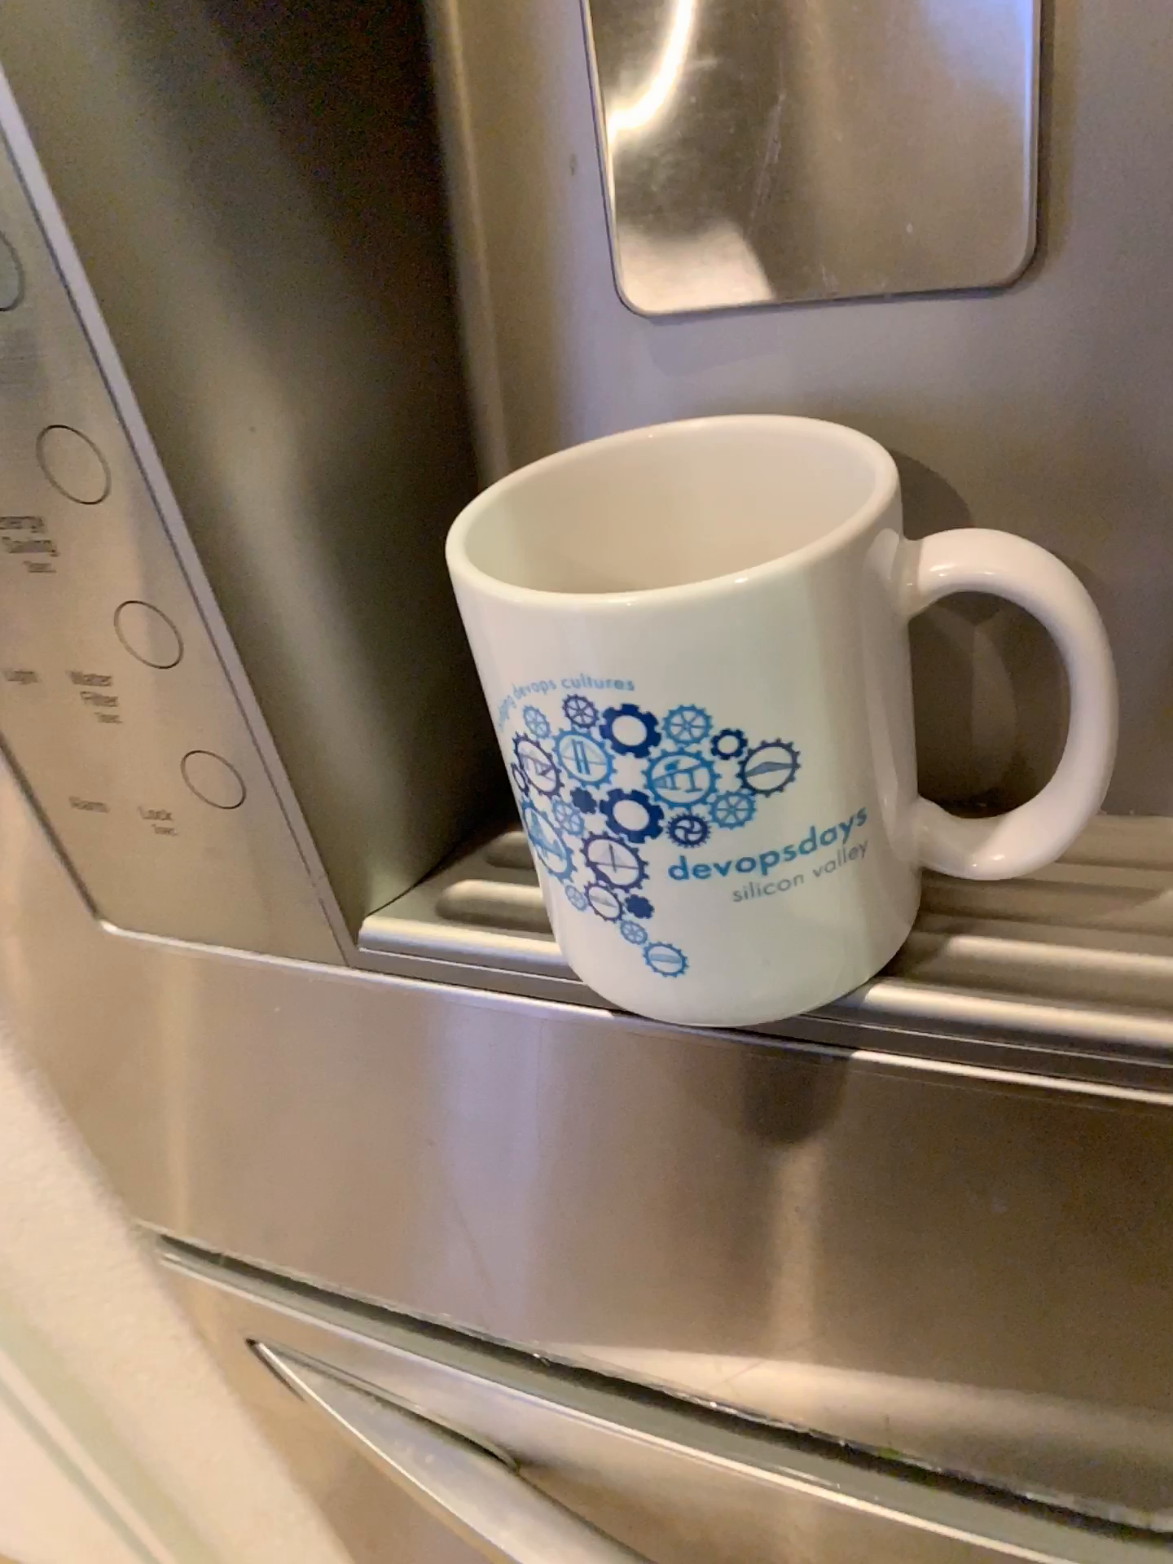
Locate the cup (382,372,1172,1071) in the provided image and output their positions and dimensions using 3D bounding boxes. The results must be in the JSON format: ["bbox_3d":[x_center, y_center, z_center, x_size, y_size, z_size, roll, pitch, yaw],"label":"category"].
[{"bbox_3d":[0.043,-0.012,0.242,0.120,0.099,0.081,-1,36,18],"label":"cup"}]
